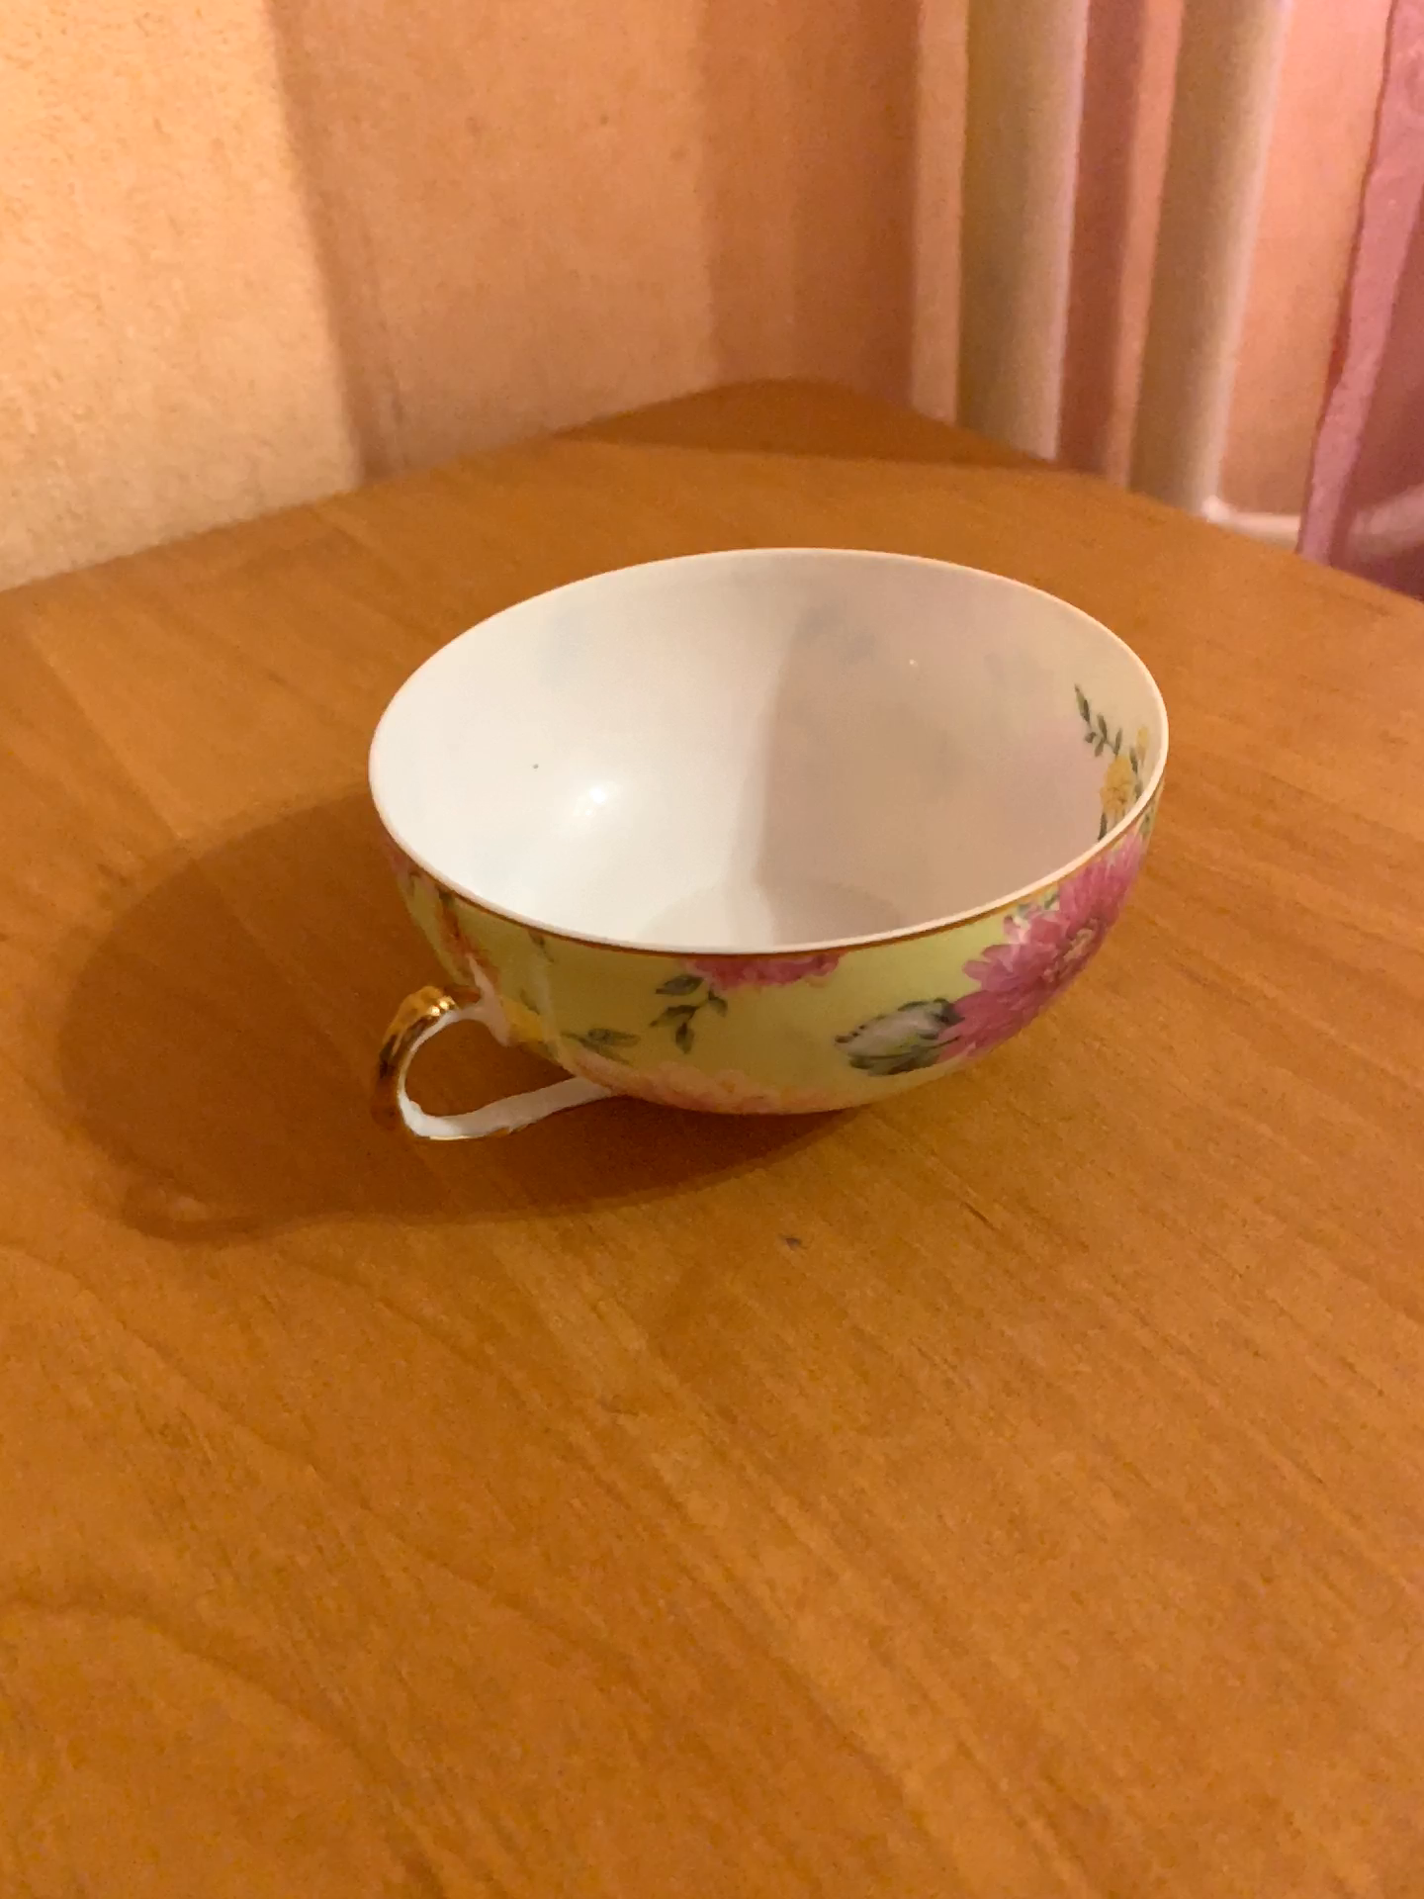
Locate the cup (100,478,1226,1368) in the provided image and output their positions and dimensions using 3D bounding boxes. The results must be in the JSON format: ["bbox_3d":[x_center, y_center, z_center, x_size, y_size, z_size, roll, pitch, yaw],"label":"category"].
[{"bbox_3d":[-0.006,-0.014,0.194,0.113,0.045,0.079,-26,42,-25],"label":"cup"}]
